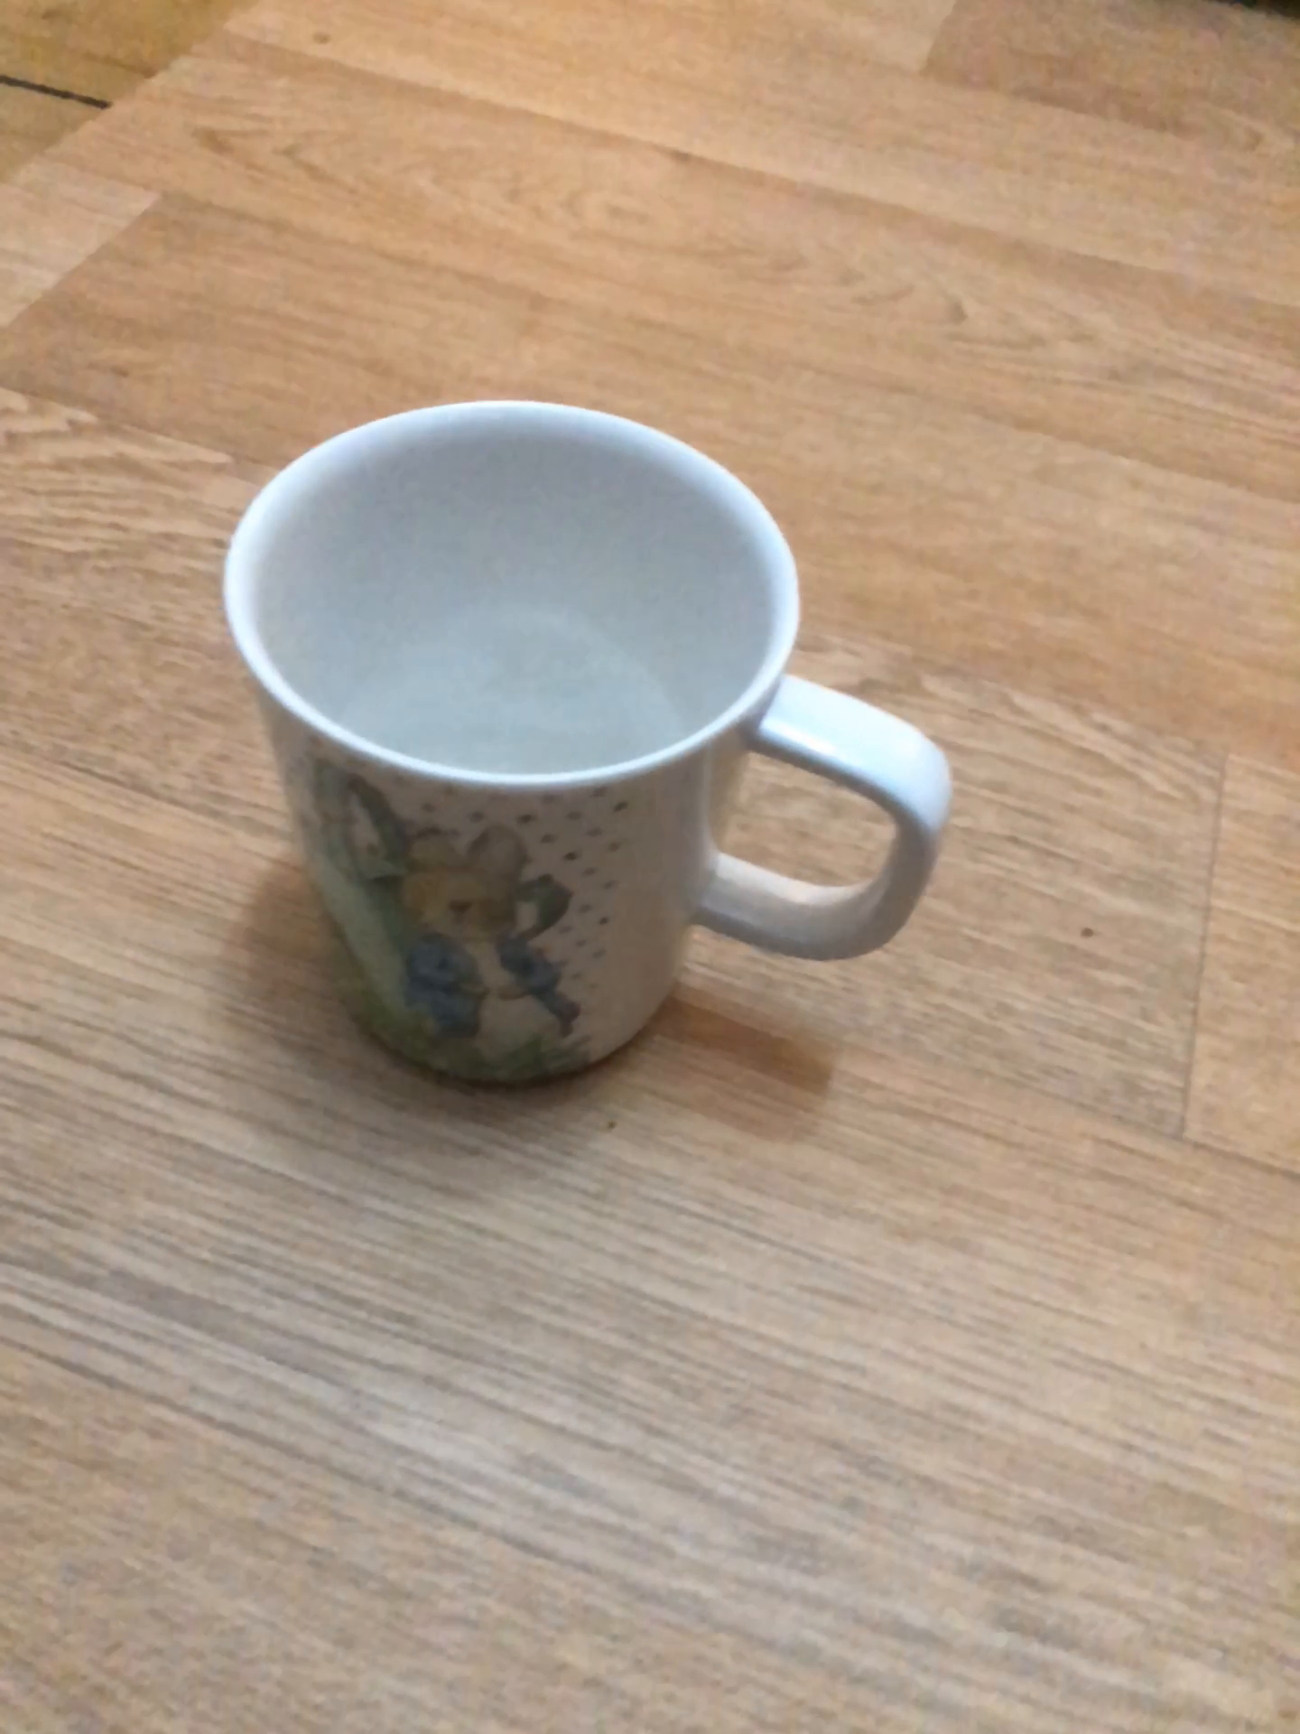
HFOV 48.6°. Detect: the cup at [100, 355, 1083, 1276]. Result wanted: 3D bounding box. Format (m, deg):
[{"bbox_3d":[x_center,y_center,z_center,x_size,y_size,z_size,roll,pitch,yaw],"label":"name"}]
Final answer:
[{"bbox_3d":[-0.006,-0.009,0.226,0.110,0.080,0.080,21,52,10],"label":"cup"}]
